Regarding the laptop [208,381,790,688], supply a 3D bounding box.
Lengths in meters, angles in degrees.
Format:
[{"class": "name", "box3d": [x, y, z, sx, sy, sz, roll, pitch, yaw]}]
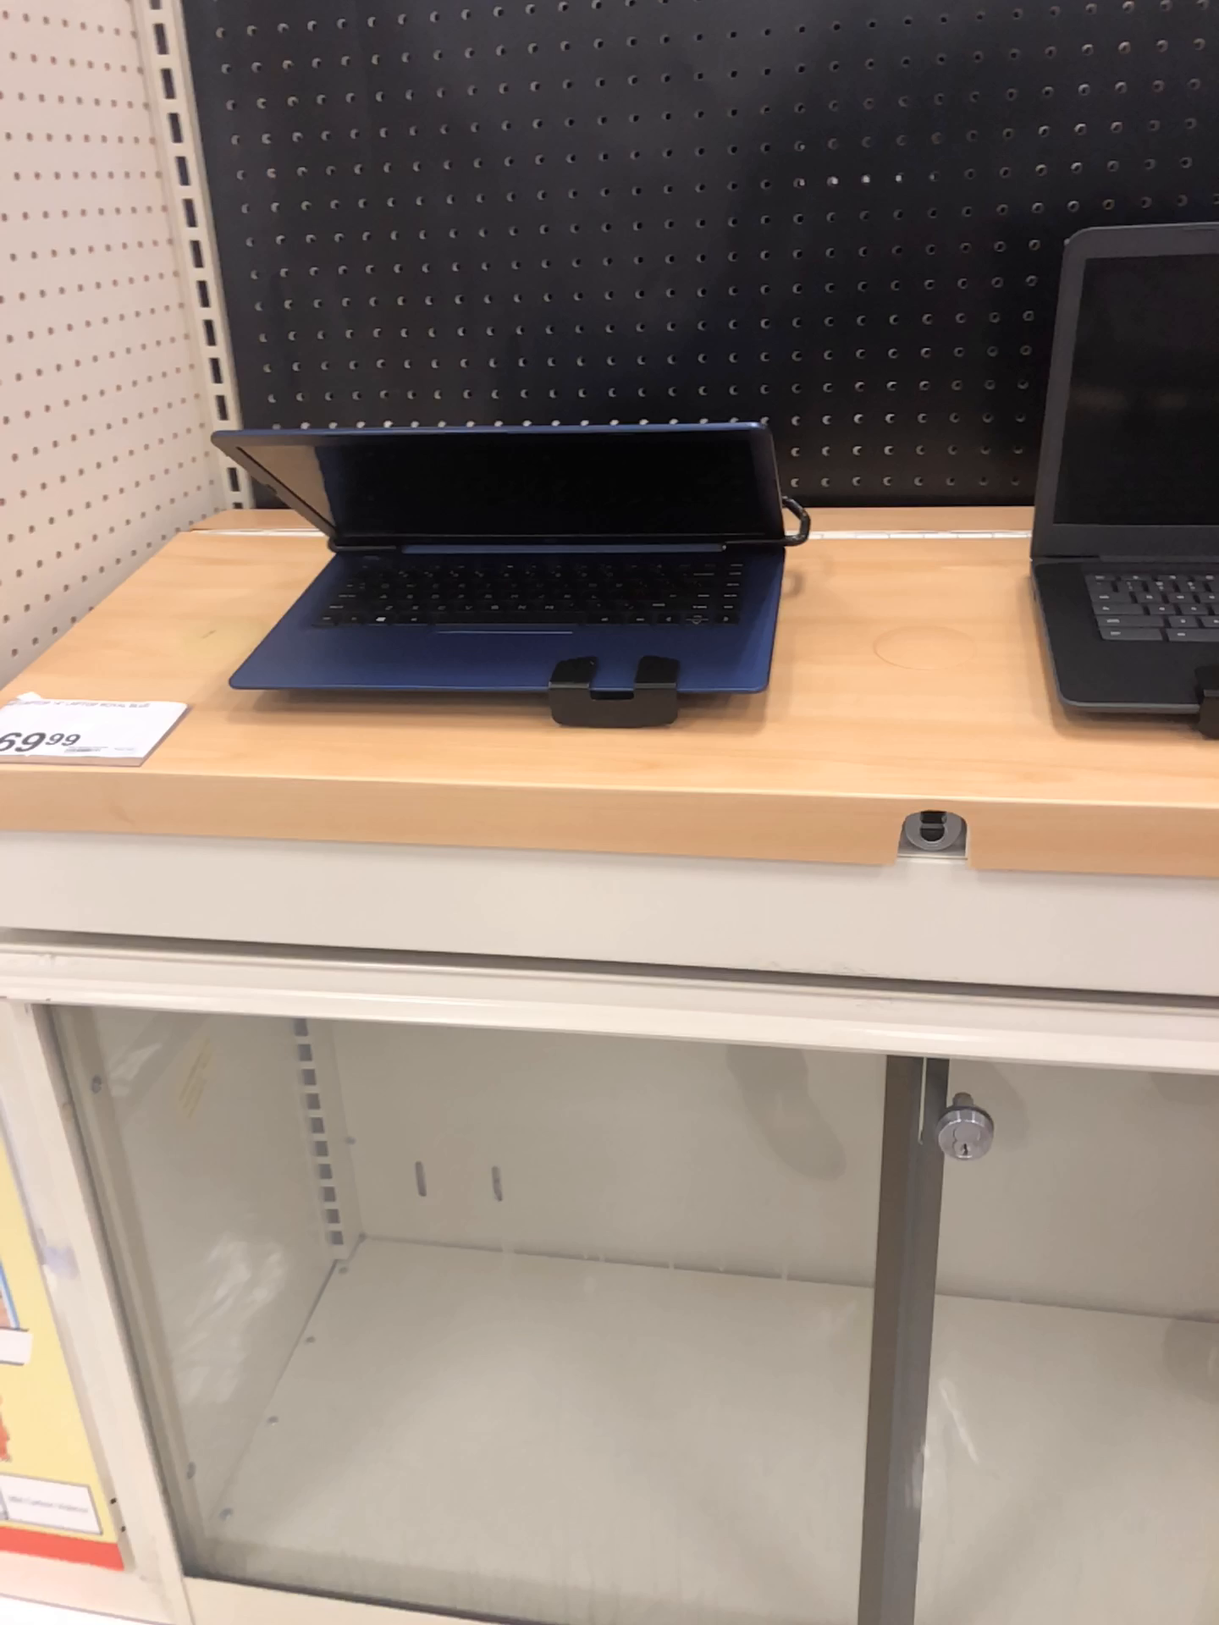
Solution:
[{"class": "laptop", "box3d": [-0.054, -0.180, 0.841, 0.320, 0.110, 0.202, 1, 31, 11]}]

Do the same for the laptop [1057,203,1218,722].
[{"class": "laptop", "box3d": [0.430, -0.200, 0.738, 0.330, 0.206, 0.224, 3, 28, 13]}]
